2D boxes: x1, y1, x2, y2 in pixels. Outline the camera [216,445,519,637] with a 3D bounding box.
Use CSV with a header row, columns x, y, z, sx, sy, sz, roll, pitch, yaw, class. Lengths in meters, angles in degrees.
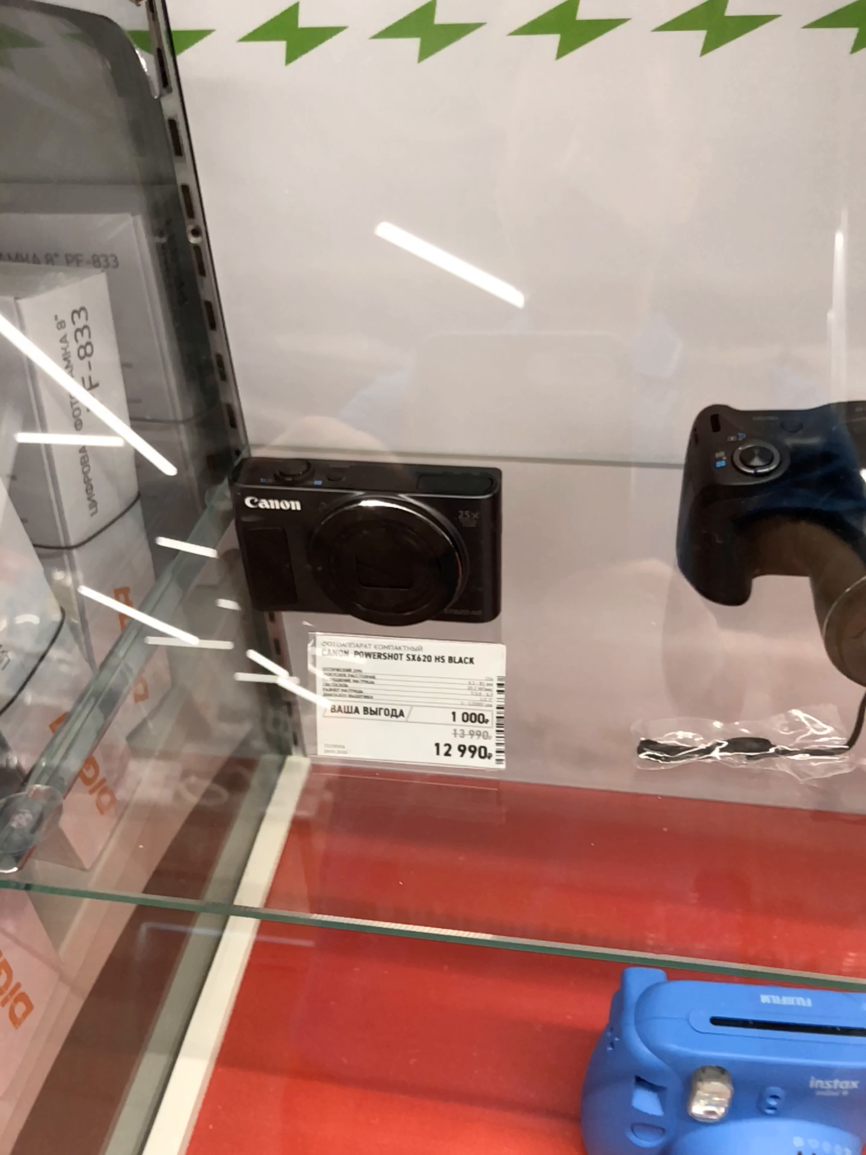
x,y,z,sx,sy,sz,roll,pitch,yaw,class
-0.020,-0.013,0.341,0.098,0.055,0.030,4,38,9,camera
